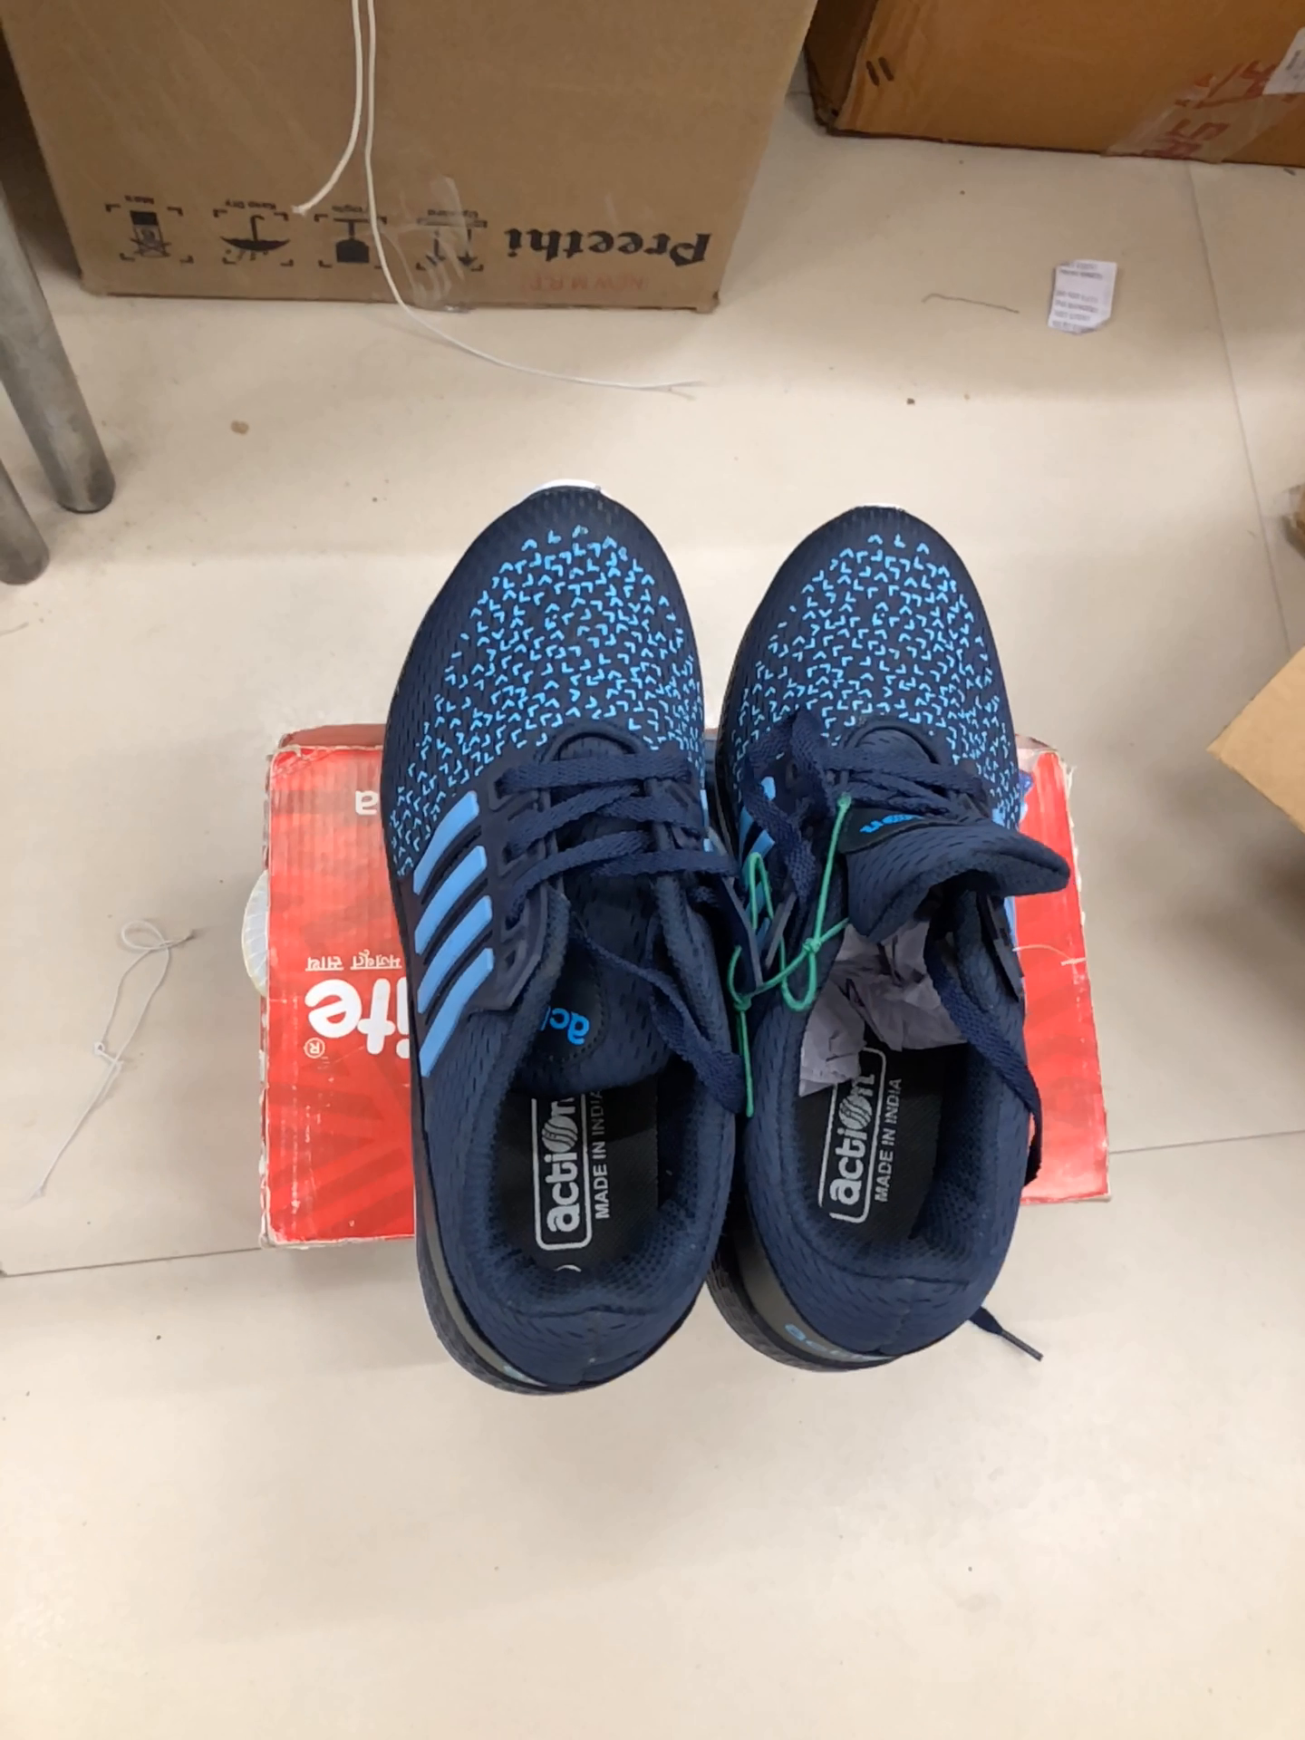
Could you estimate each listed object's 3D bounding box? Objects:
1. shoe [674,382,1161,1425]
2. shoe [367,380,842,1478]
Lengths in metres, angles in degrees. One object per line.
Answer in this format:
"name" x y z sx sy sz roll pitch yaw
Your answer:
"shoe" 0.069 0.015 0.428 0.093 0.133 0.263 5 75 -8
"shoe" -0.026 0.017 0.411 0.101 0.133 0.263 -1 76 -10
